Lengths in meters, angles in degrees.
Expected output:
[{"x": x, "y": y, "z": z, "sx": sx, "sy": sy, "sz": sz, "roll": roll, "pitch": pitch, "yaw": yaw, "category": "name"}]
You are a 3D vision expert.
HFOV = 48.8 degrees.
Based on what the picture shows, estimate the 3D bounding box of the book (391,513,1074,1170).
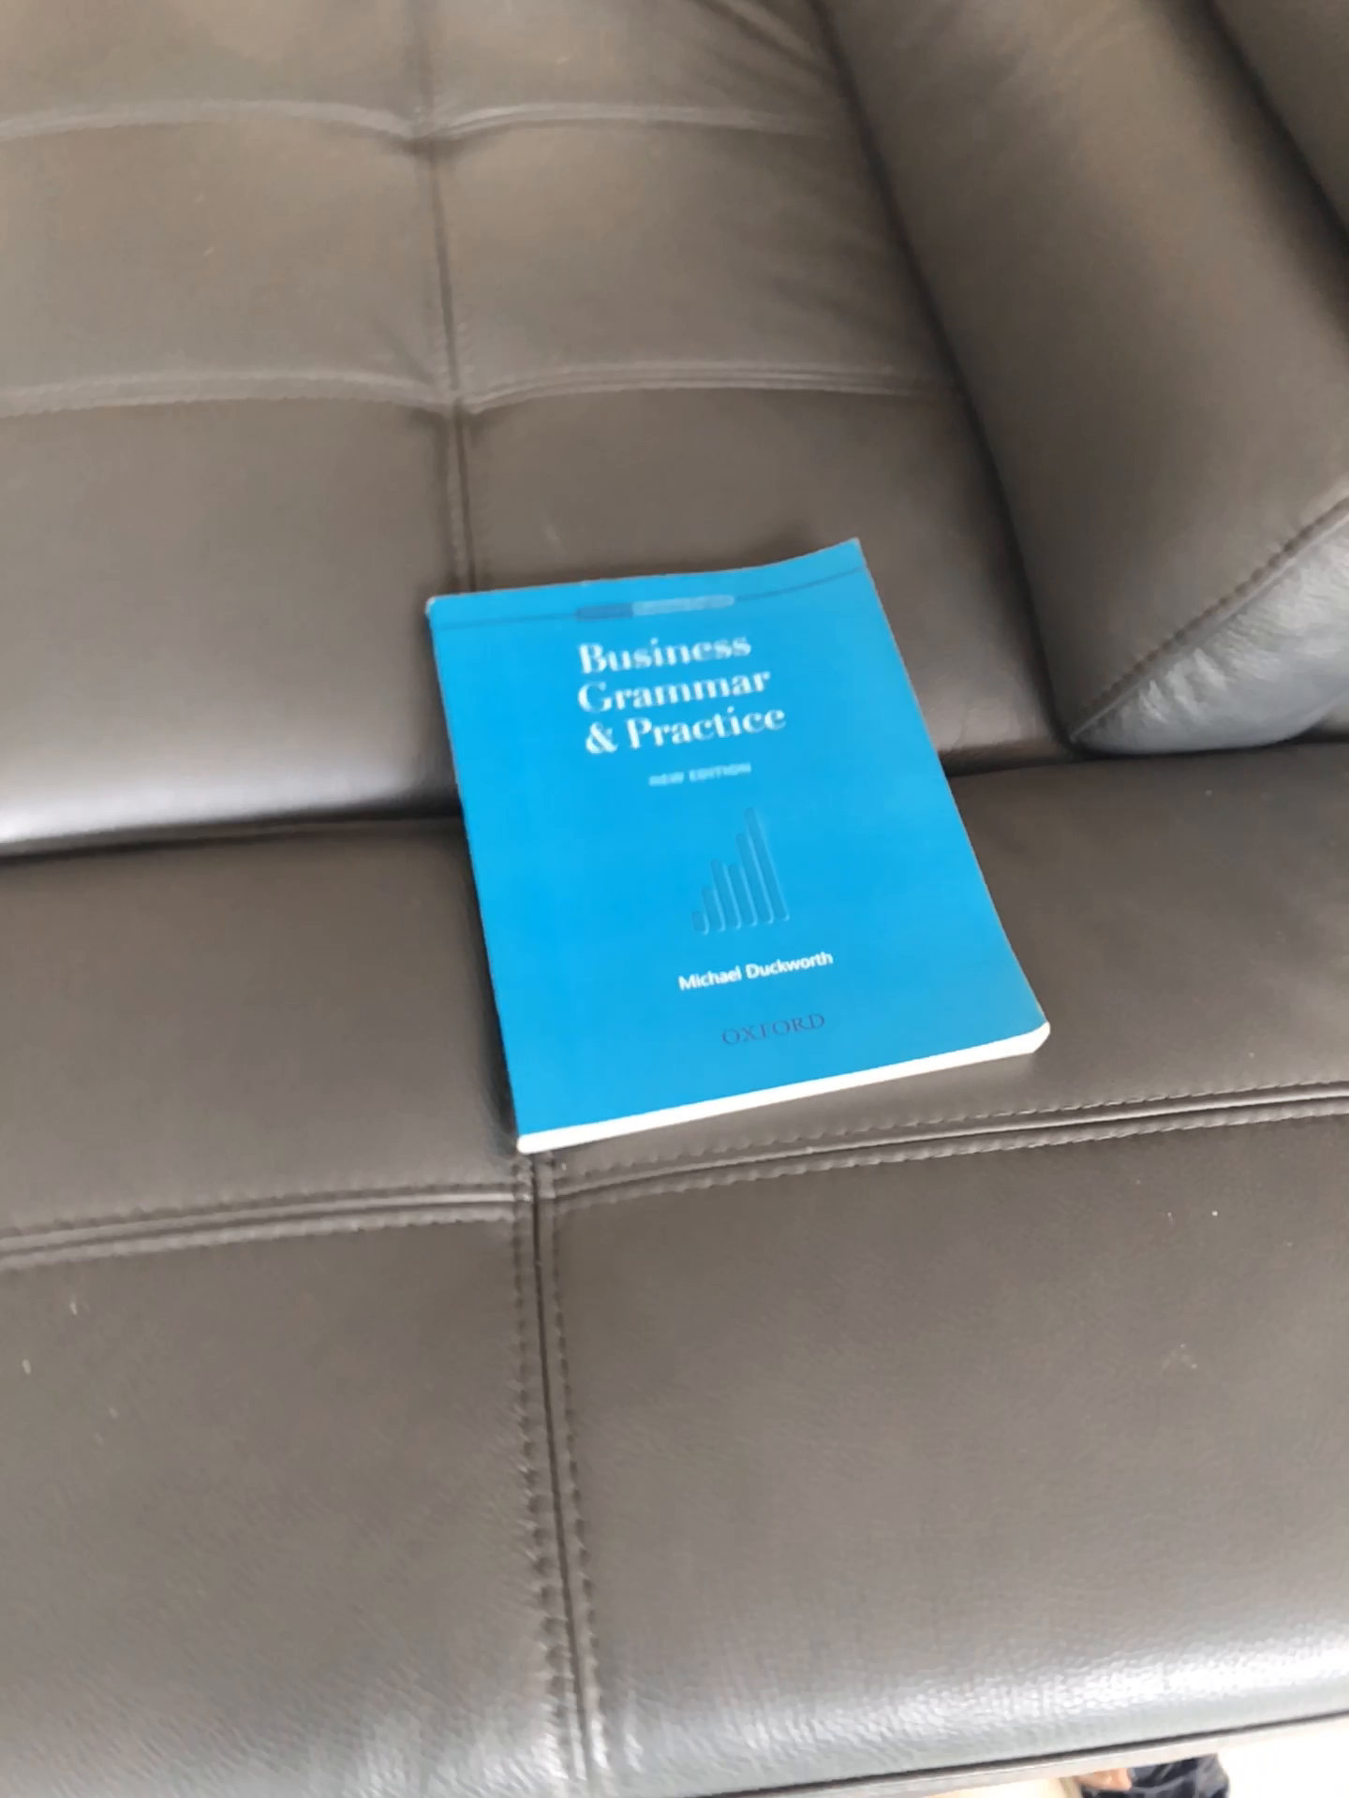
[{"x": 0.012, "y": -0.041, "z": 0.641, "sx": 0.230, "sy": 0.020, "sz": 0.281, "roll": -11, "pitch": 61, "yaw": -8, "category": "book"}]
